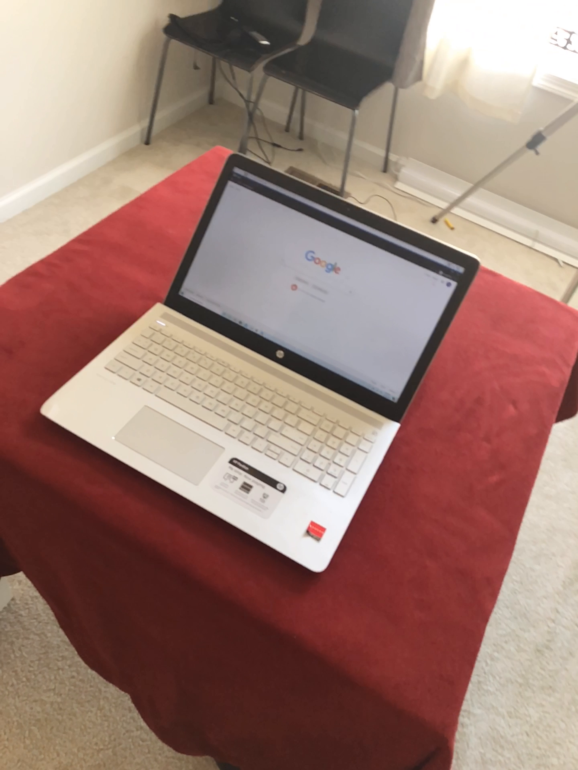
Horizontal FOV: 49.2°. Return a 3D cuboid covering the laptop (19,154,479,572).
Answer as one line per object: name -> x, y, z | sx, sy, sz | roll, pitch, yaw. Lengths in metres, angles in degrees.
laptop -> -0.025, -0.060, 0.757 | 0.360, 0.158, 0.397 | 28, 49, 11
